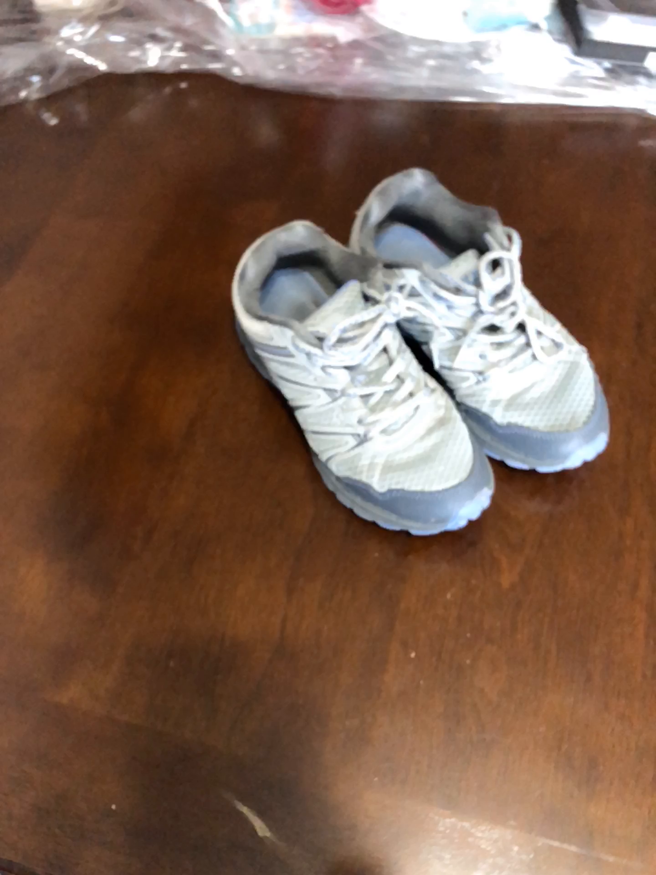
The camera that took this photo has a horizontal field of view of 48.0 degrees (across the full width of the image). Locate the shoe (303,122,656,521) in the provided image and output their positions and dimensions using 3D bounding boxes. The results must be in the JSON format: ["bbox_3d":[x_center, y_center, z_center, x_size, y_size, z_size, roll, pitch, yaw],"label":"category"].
[{"bbox_3d":[0.104,-0.089,0.514,0.110,0.100,0.260,-31,62,-14],"label":"shoe"}]

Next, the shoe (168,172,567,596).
[{"bbox_3d":[0.015,-0.043,0.480,0.110,0.100,0.250,-32,62,-14],"label":"shoe"}]
